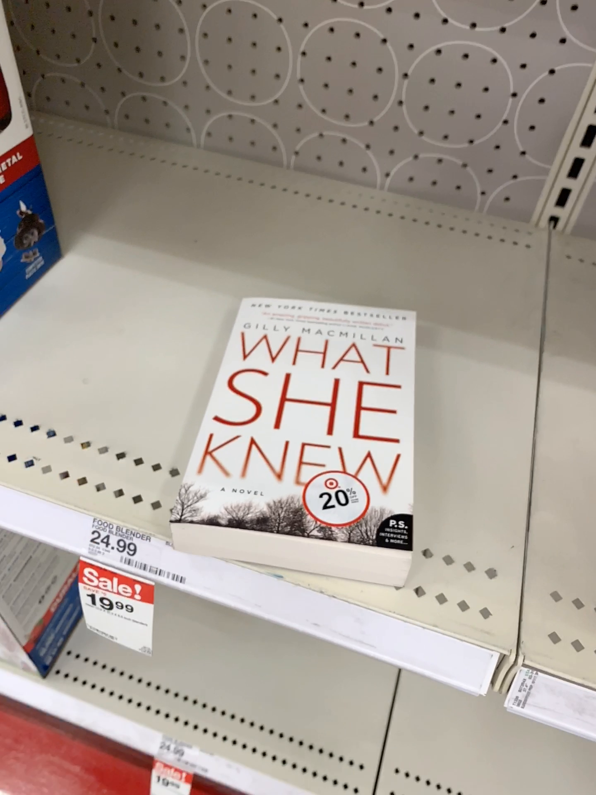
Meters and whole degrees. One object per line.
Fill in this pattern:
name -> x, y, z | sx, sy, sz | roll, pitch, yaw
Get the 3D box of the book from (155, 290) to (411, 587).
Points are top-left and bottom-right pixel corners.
book -> 0.003, 0.012, 0.399 | 0.130, 0.041, 0.198 | 7, 46, 5
